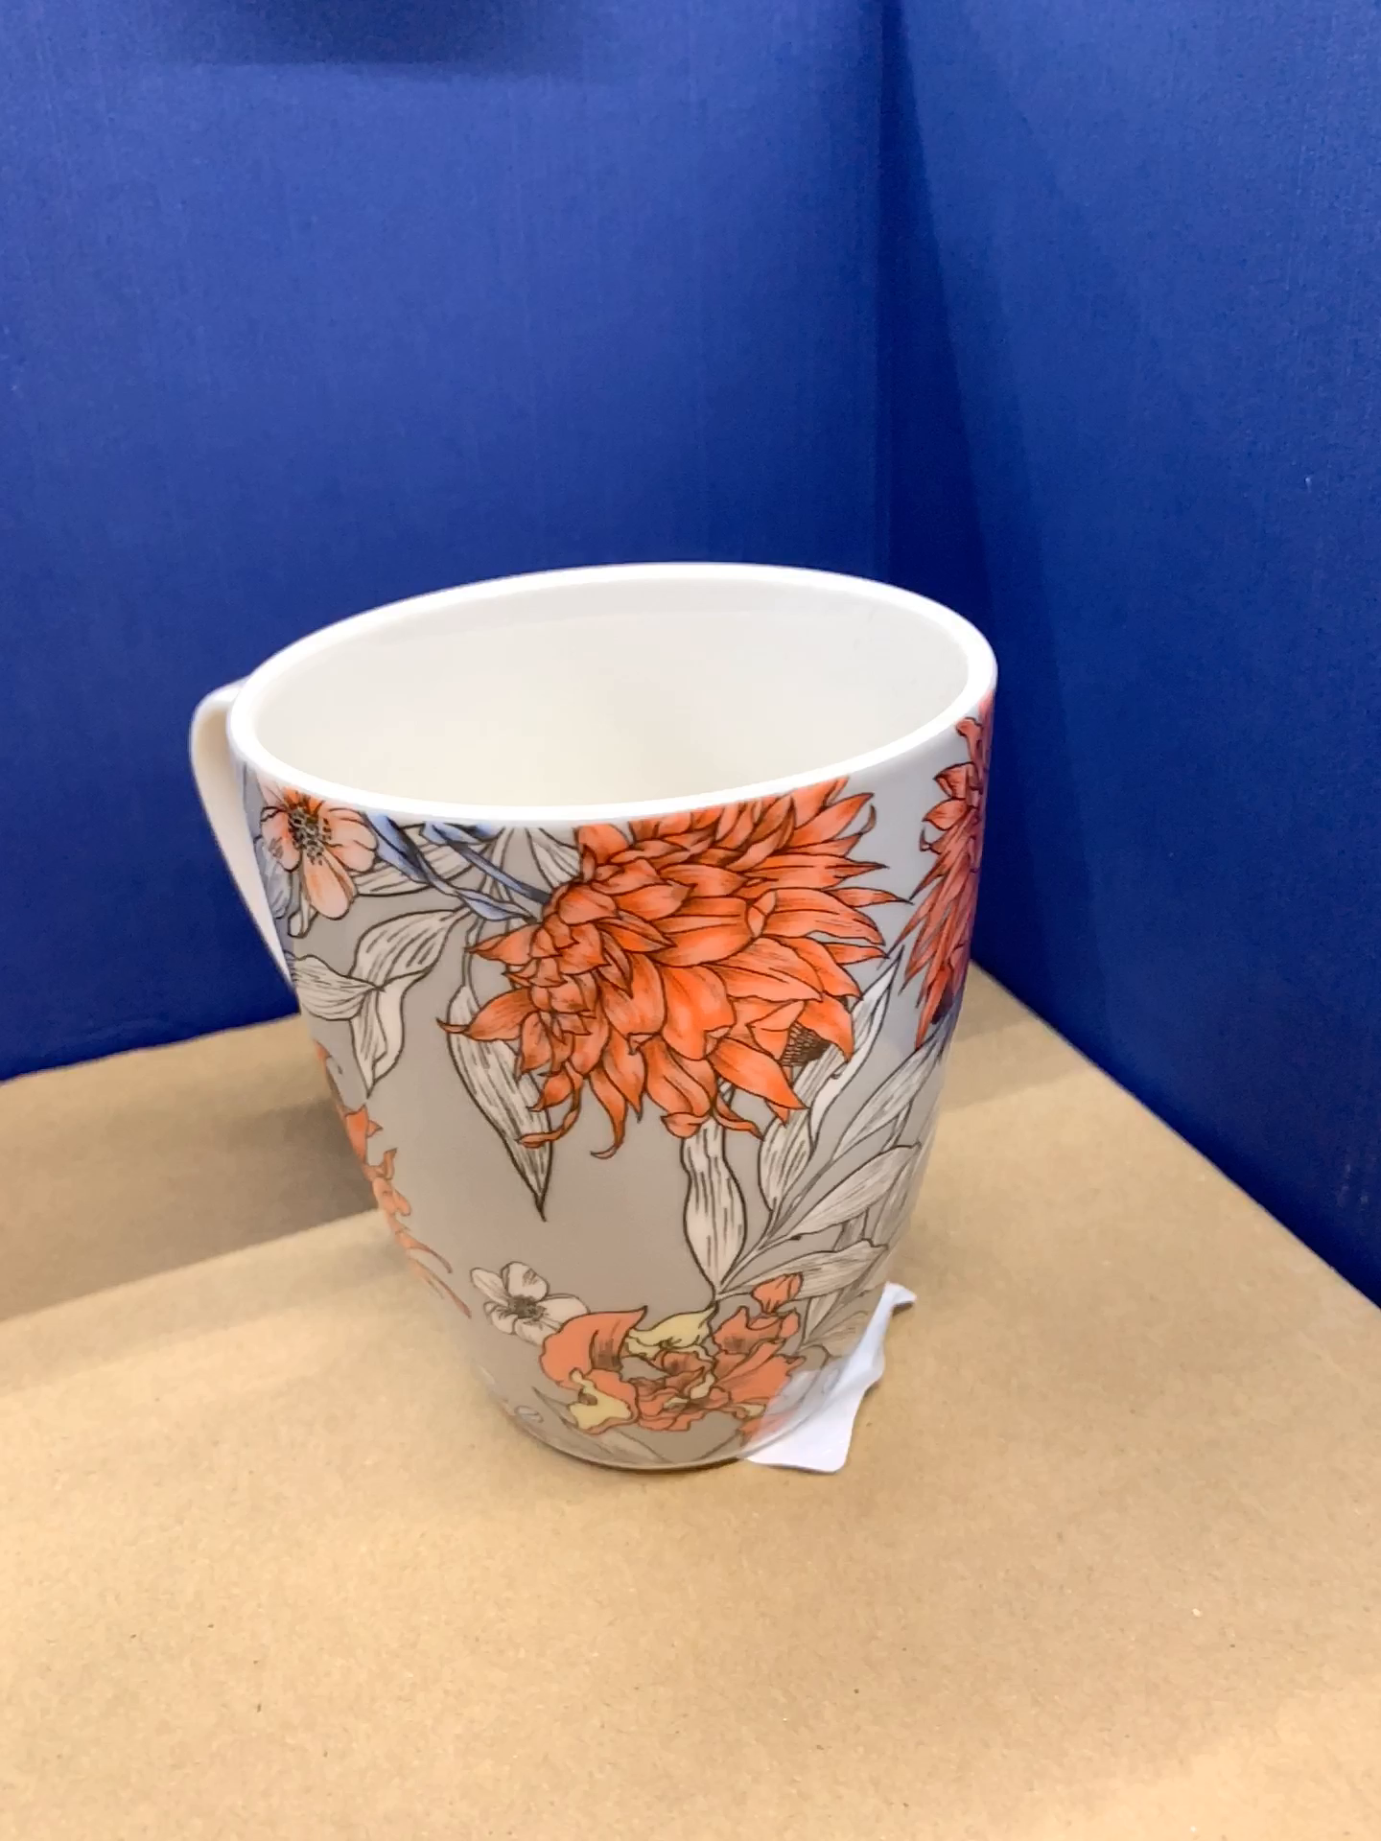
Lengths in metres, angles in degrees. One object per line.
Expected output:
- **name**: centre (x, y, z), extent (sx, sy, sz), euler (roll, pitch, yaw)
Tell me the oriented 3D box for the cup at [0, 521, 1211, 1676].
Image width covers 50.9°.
- **cup**: centre (-0.013, 0.004, 0.192), extent (0.092, 0.085, 0.118), euler (-25, 34, -38)
